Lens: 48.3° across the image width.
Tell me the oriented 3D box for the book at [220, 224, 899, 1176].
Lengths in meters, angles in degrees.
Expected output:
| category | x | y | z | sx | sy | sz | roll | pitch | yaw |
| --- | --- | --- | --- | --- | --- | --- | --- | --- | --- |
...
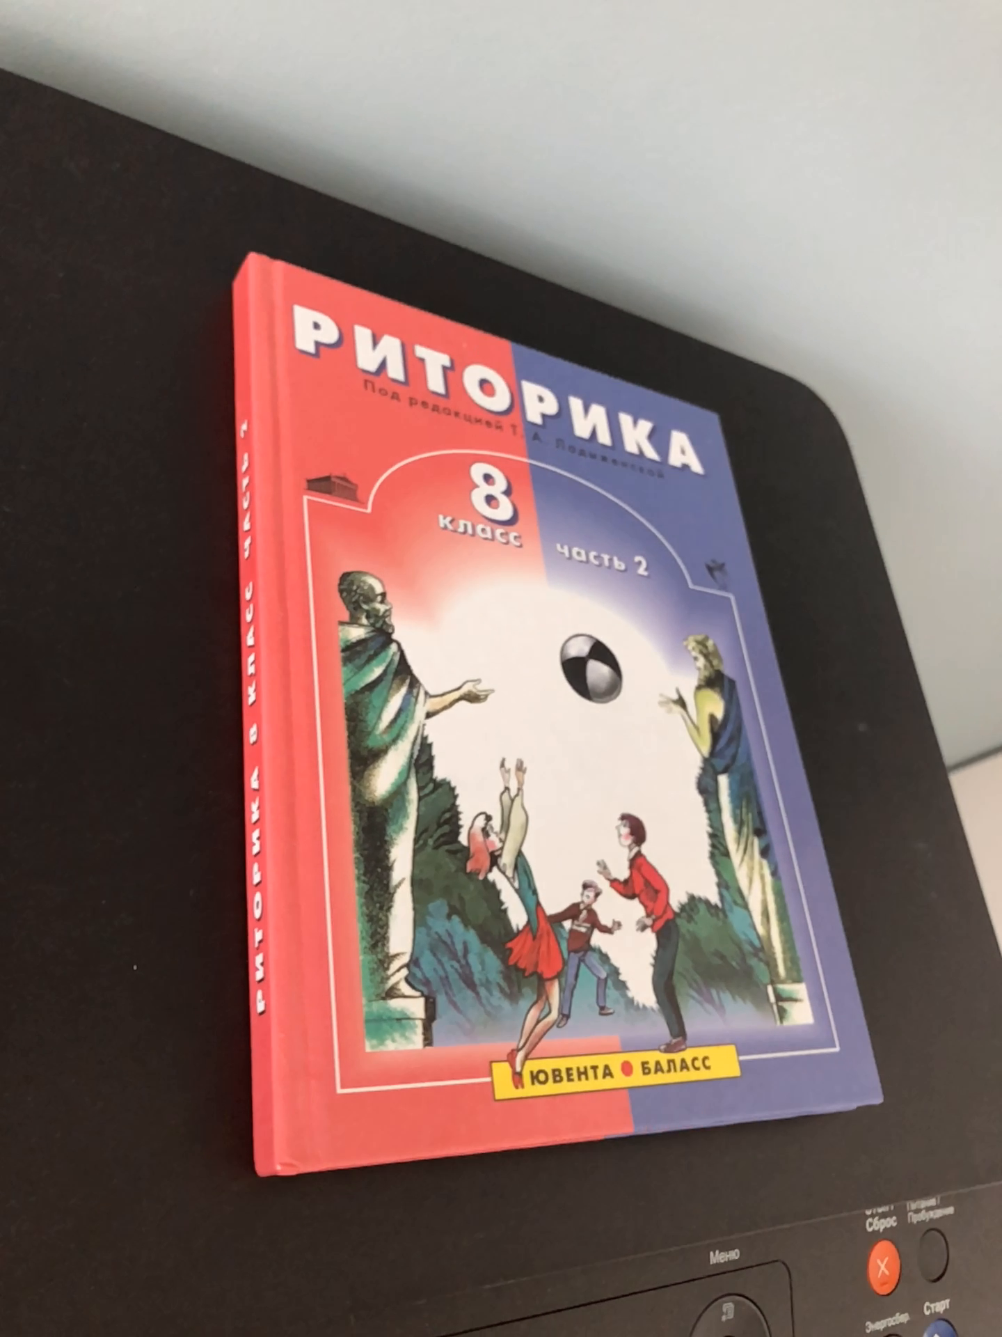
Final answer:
| category | x | y | z | sx | sy | sz | roll | pitch | yaw |
| --- | --- | --- | --- | --- | --- | --- | --- | --- | --- |
| book | 0.014 | 0.002 | 0.293 | 0.171 | 0.020 | 0.221 | 9 | 61 | -33 |
